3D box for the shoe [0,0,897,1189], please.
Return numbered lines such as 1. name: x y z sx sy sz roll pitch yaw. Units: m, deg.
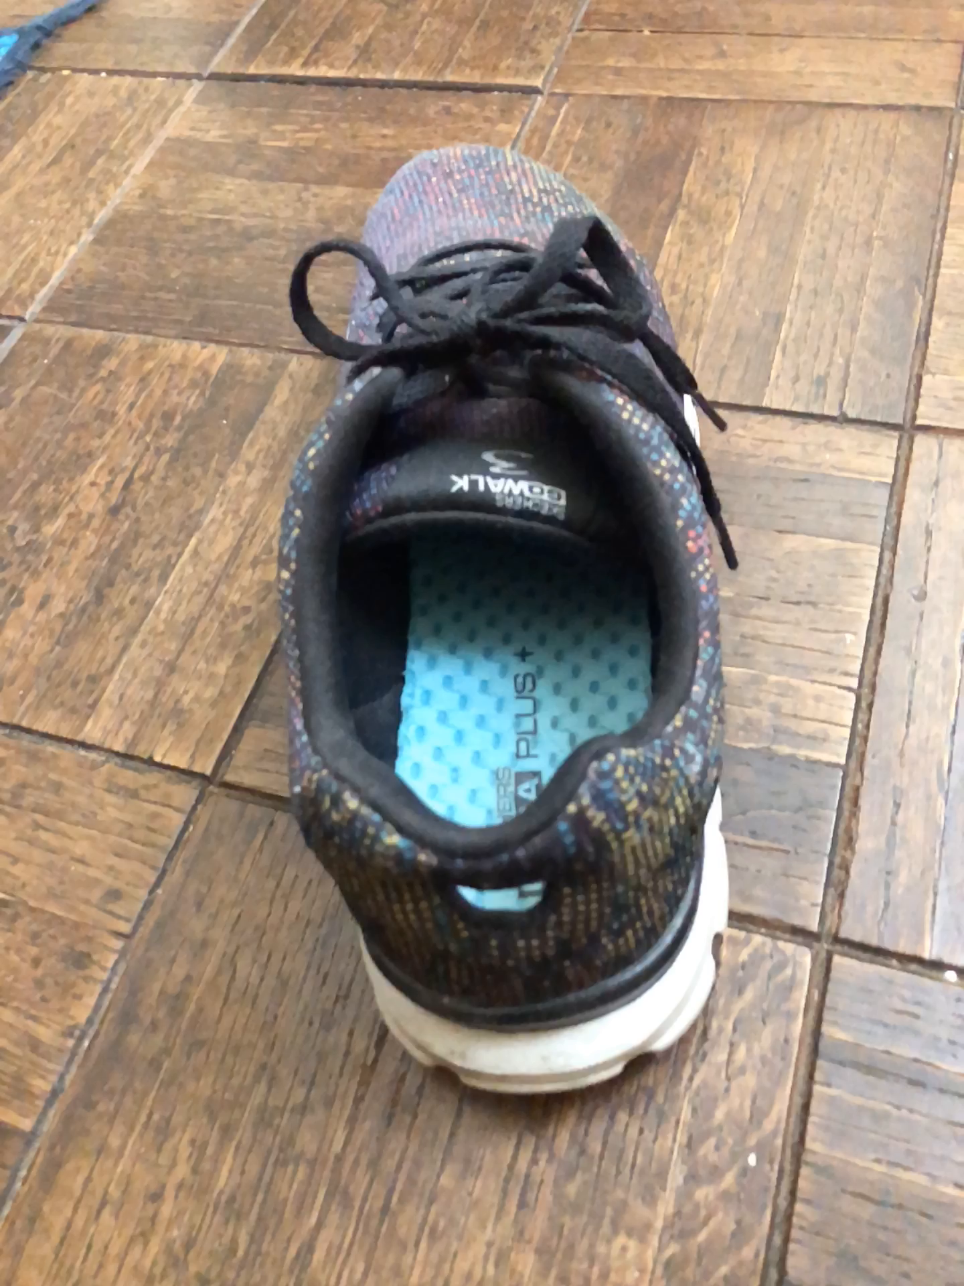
1. shoe: 0.000 -0.039 0.257 0.110 0.120 0.290 -5 57 7
